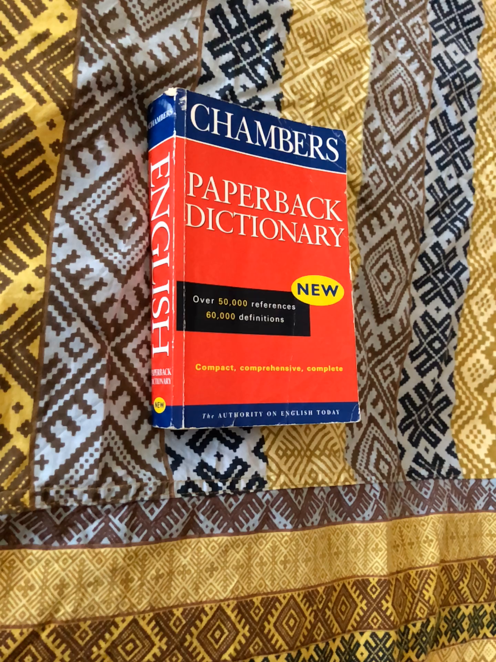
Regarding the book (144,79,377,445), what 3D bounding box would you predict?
[{"bbox_3d":[0.008,-0.030,0.295,0.117,0.044,0.165,1,87,-29],"label":"book"}]
